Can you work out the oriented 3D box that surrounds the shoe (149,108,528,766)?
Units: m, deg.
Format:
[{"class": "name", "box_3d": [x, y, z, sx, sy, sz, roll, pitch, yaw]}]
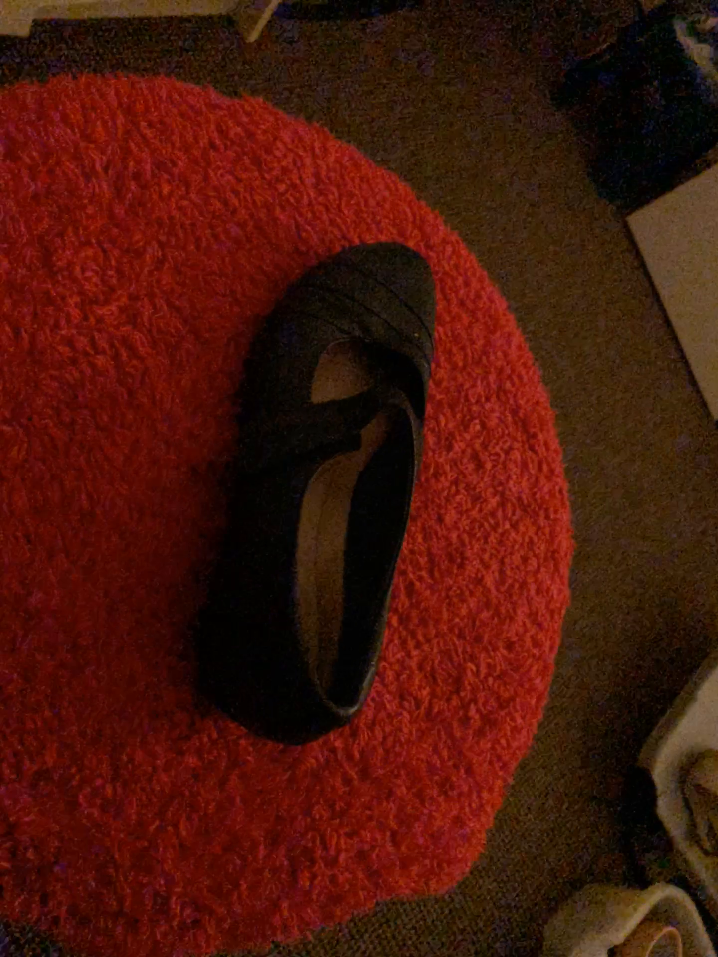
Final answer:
[{"class": "shoe", "box_3d": [0.001, -0.023, 0.346, 0.093, 0.080, 0.276, 24, 65, -26]}]
